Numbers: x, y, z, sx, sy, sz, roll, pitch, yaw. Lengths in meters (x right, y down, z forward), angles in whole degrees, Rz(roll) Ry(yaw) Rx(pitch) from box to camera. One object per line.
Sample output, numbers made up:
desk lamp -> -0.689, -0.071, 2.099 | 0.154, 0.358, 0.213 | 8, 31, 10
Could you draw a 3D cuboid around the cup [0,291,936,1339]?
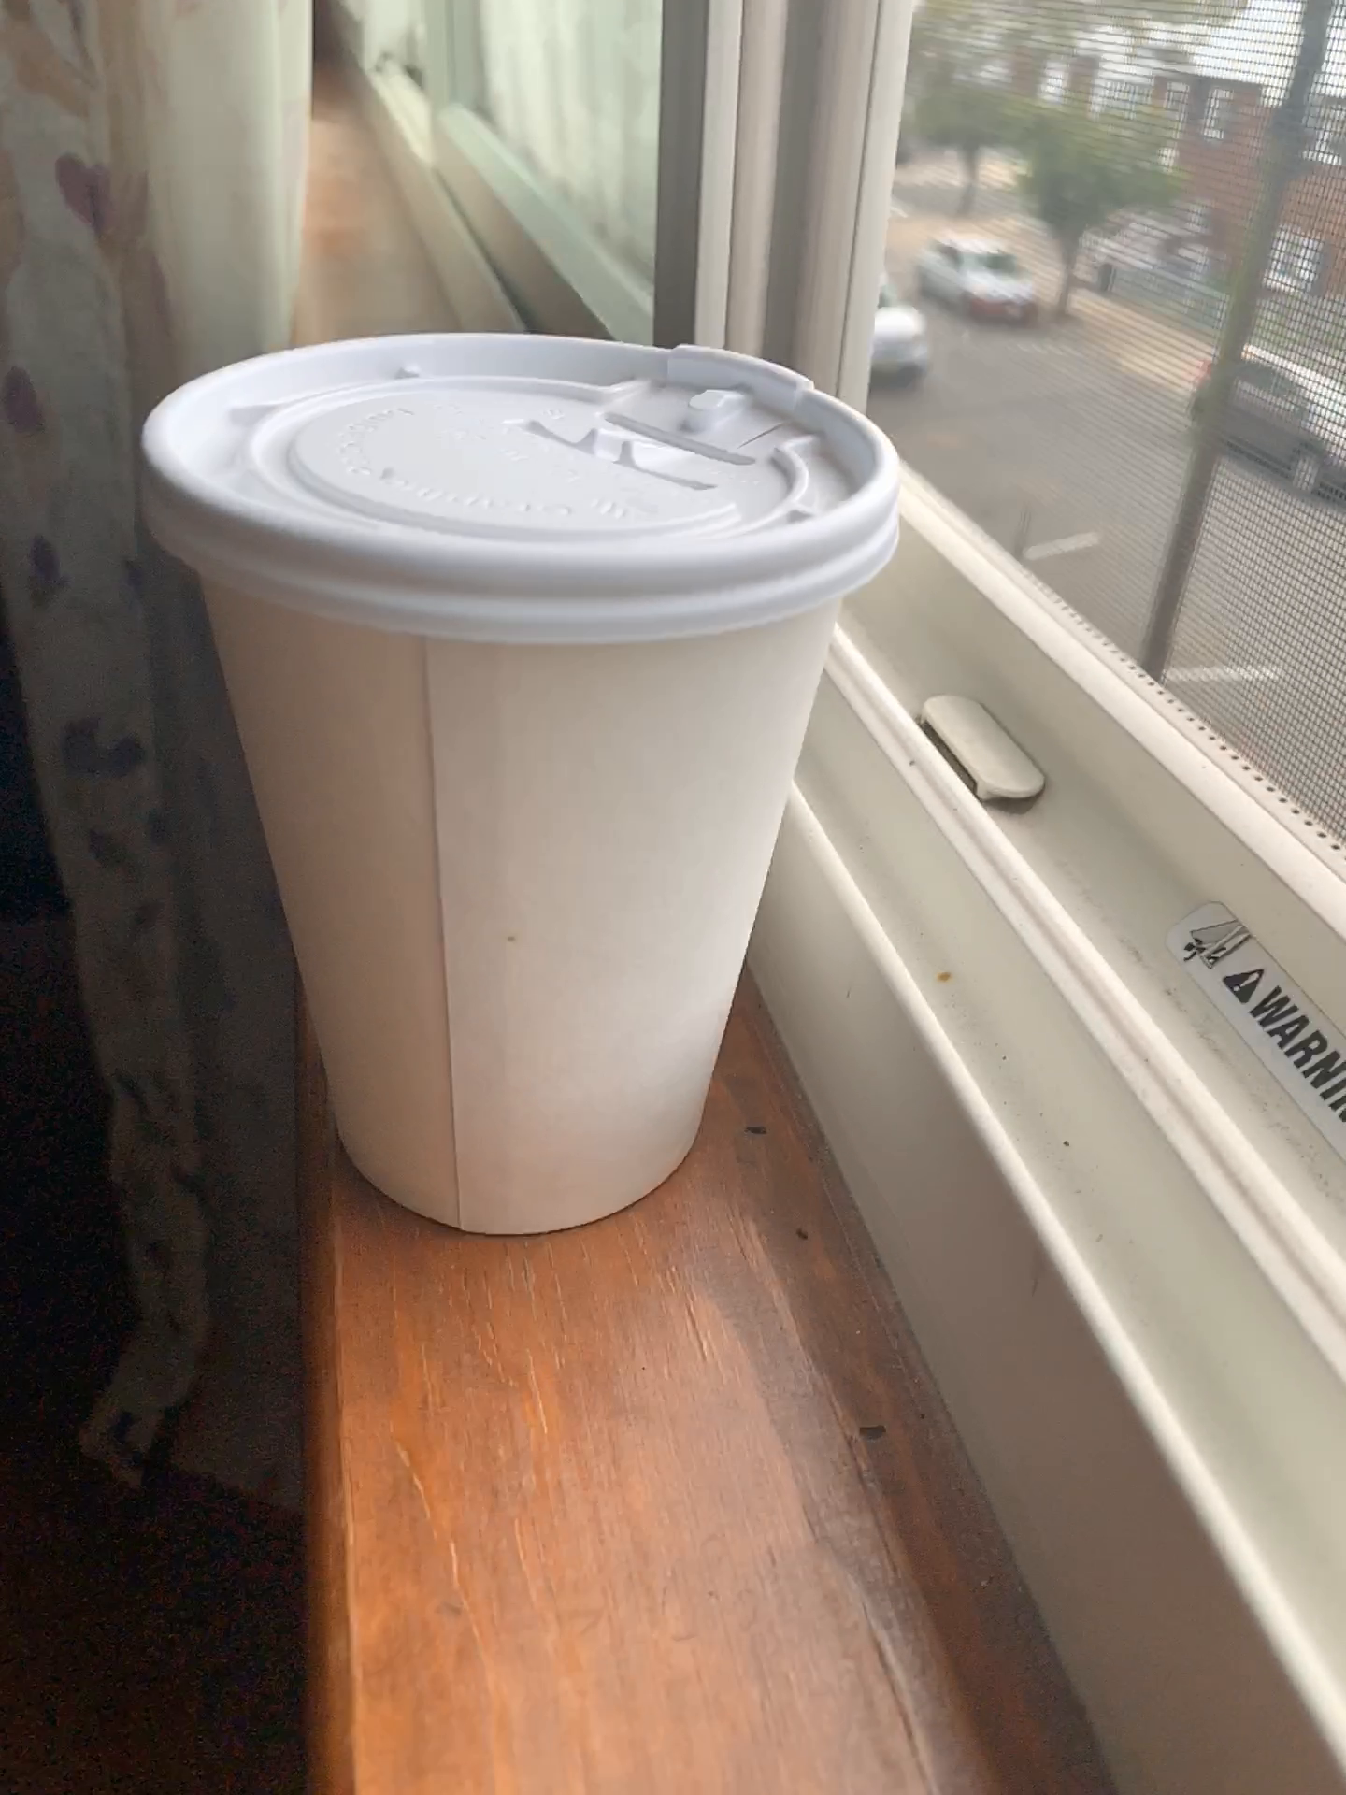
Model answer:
cup -> -0.018, -0.016, 0.189 | 0.090, 0.099, 0.091 | 2, 34, -2
